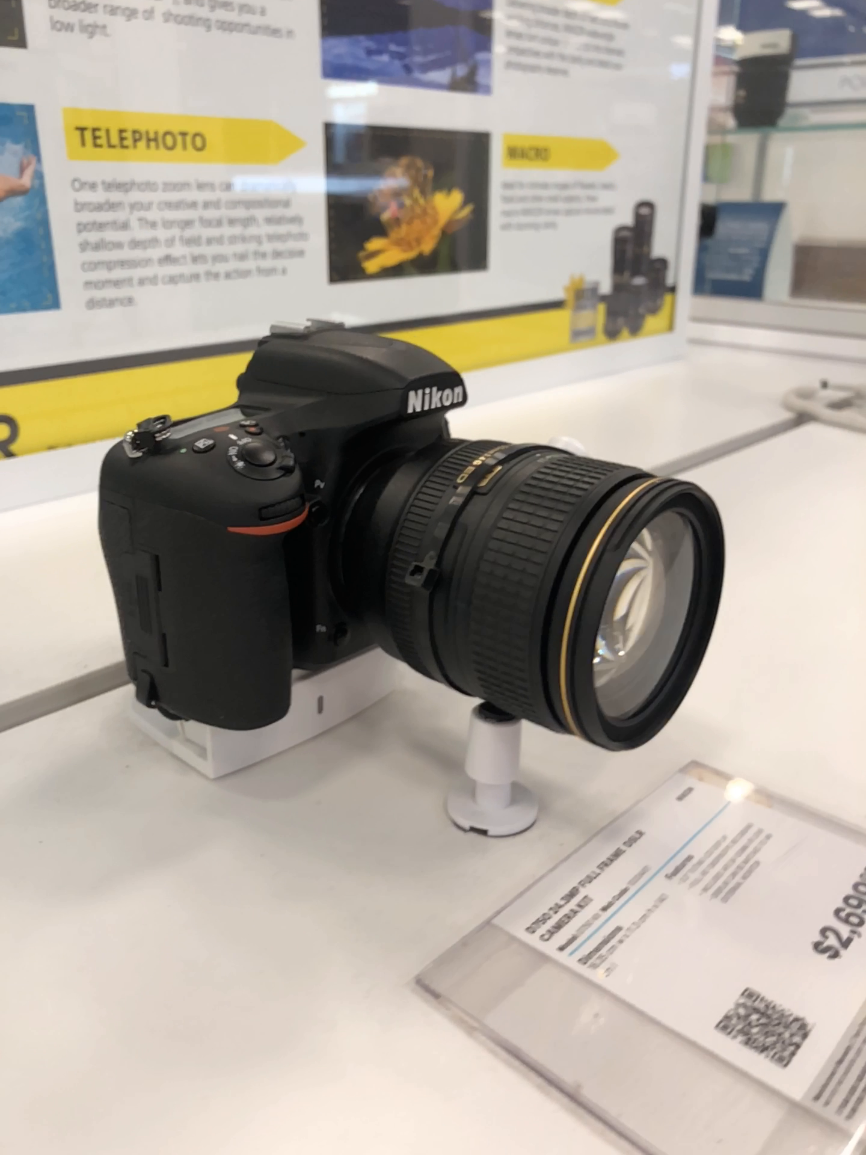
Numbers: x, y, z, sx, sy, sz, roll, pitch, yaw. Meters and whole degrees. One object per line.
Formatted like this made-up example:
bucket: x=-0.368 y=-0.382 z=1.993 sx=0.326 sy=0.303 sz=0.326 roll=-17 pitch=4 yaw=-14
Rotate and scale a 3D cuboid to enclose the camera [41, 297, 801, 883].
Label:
camera: x=-0.003 y=-0.022 z=0.309 sx=0.170 sy=0.110 sz=0.150 roll=17 pitch=27 yaw=37
